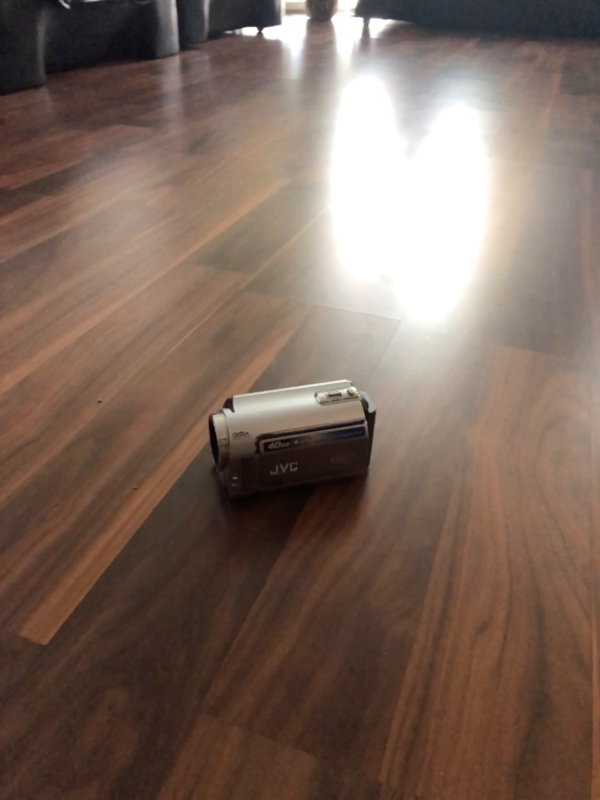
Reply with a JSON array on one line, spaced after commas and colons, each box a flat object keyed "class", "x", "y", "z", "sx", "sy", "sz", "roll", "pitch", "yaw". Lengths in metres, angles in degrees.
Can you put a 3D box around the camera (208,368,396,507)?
[{"class": "camera", "x": -0.001, "y": 0.025, "z": 0.481, "sx": 0.120, "sy": 0.060, "sz": 0.060, "roll": -8, "pitch": 35, "yaw": -14}]
